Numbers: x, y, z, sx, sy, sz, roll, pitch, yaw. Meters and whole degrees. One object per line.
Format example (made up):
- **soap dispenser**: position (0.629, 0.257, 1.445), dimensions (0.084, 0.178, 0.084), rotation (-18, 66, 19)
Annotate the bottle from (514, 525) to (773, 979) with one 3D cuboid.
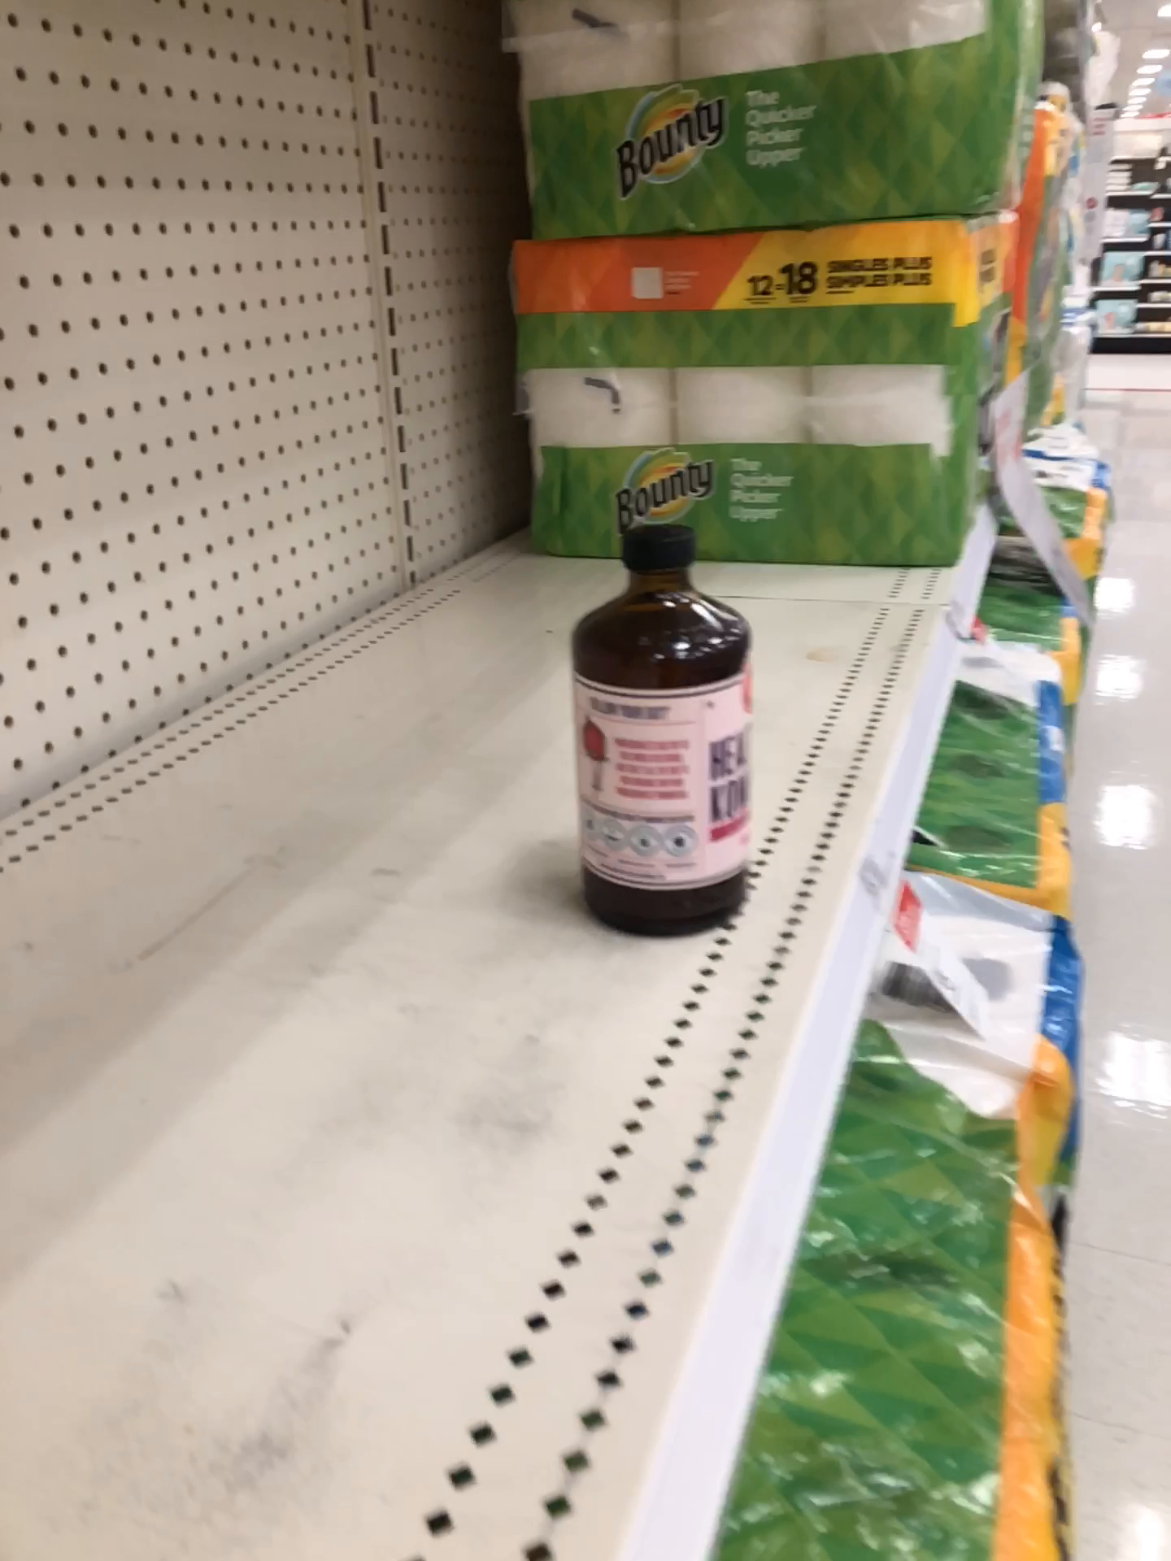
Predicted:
- **bottle**: position (0.028, -0.015, 0.551), dimensions (0.089, 0.169, 0.087), rotation (-1, 23, 0)
